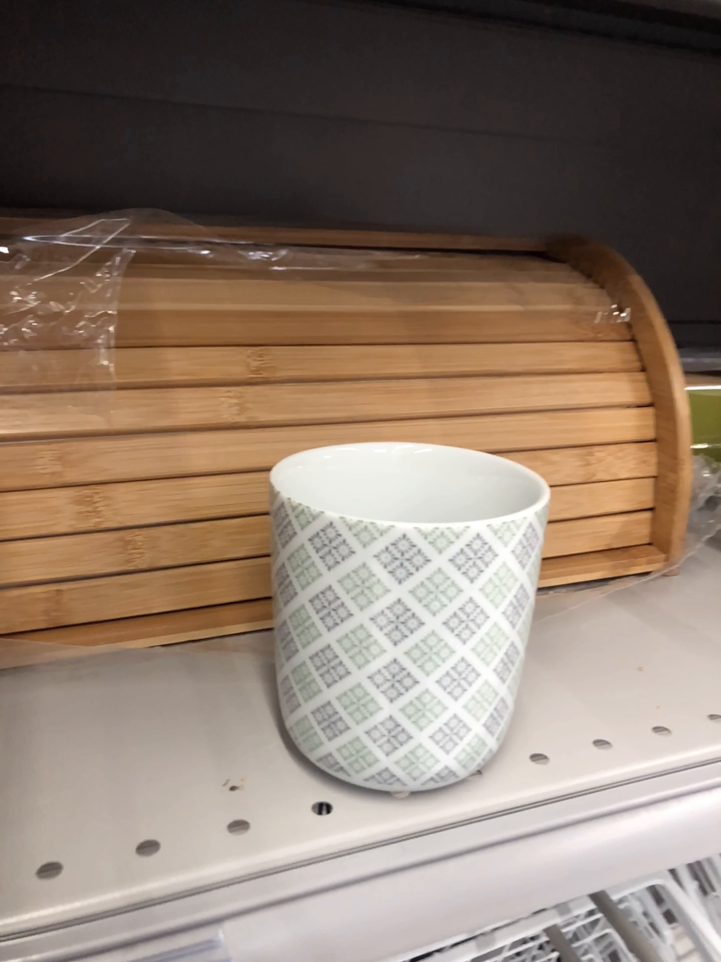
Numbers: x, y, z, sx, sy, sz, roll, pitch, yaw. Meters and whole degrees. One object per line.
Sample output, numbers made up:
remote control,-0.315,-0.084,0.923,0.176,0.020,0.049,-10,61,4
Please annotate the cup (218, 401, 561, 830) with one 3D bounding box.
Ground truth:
cup,0.017,0.032,0.275,0.085,0.090,0.119,8,18,15
